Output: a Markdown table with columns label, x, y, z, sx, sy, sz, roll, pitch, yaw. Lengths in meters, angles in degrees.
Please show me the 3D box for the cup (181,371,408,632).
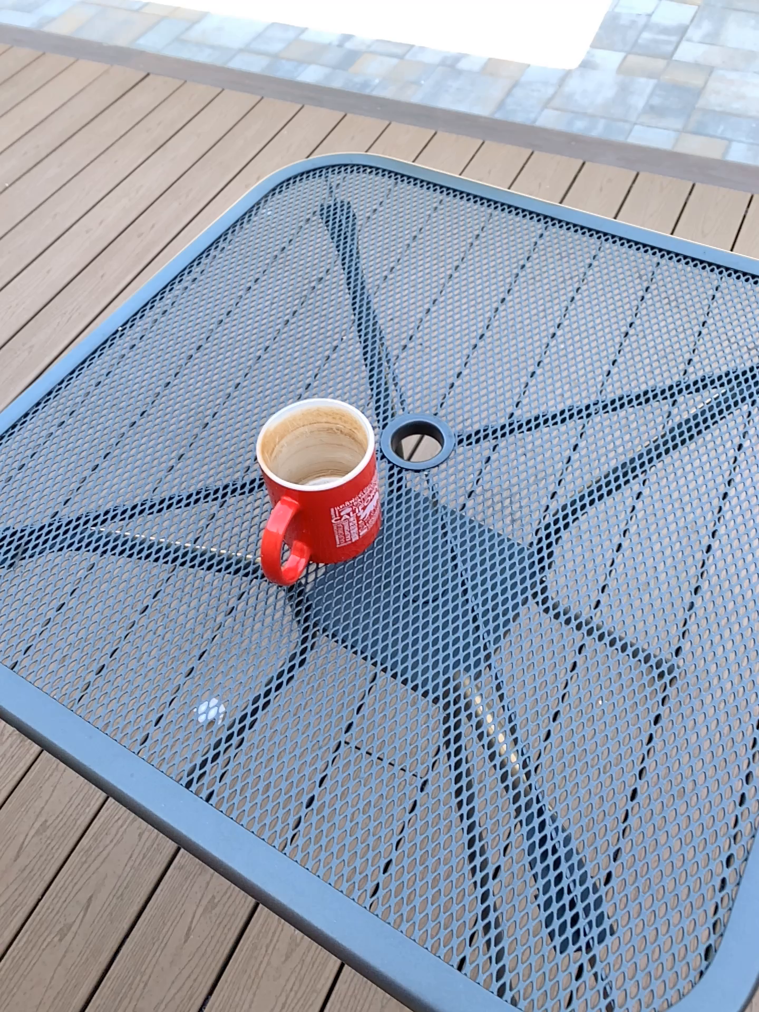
| label | x | y | z | sx | sy | sz | roll | pitch | yaw |
| --- | --- | --- | --- | --- | --- | --- | --- | --- | --- |
| cup | -0.054 | -0.005 | 0.579 | 0.100 | 0.100 | 0.140 | 19 | 59 | 17 |
